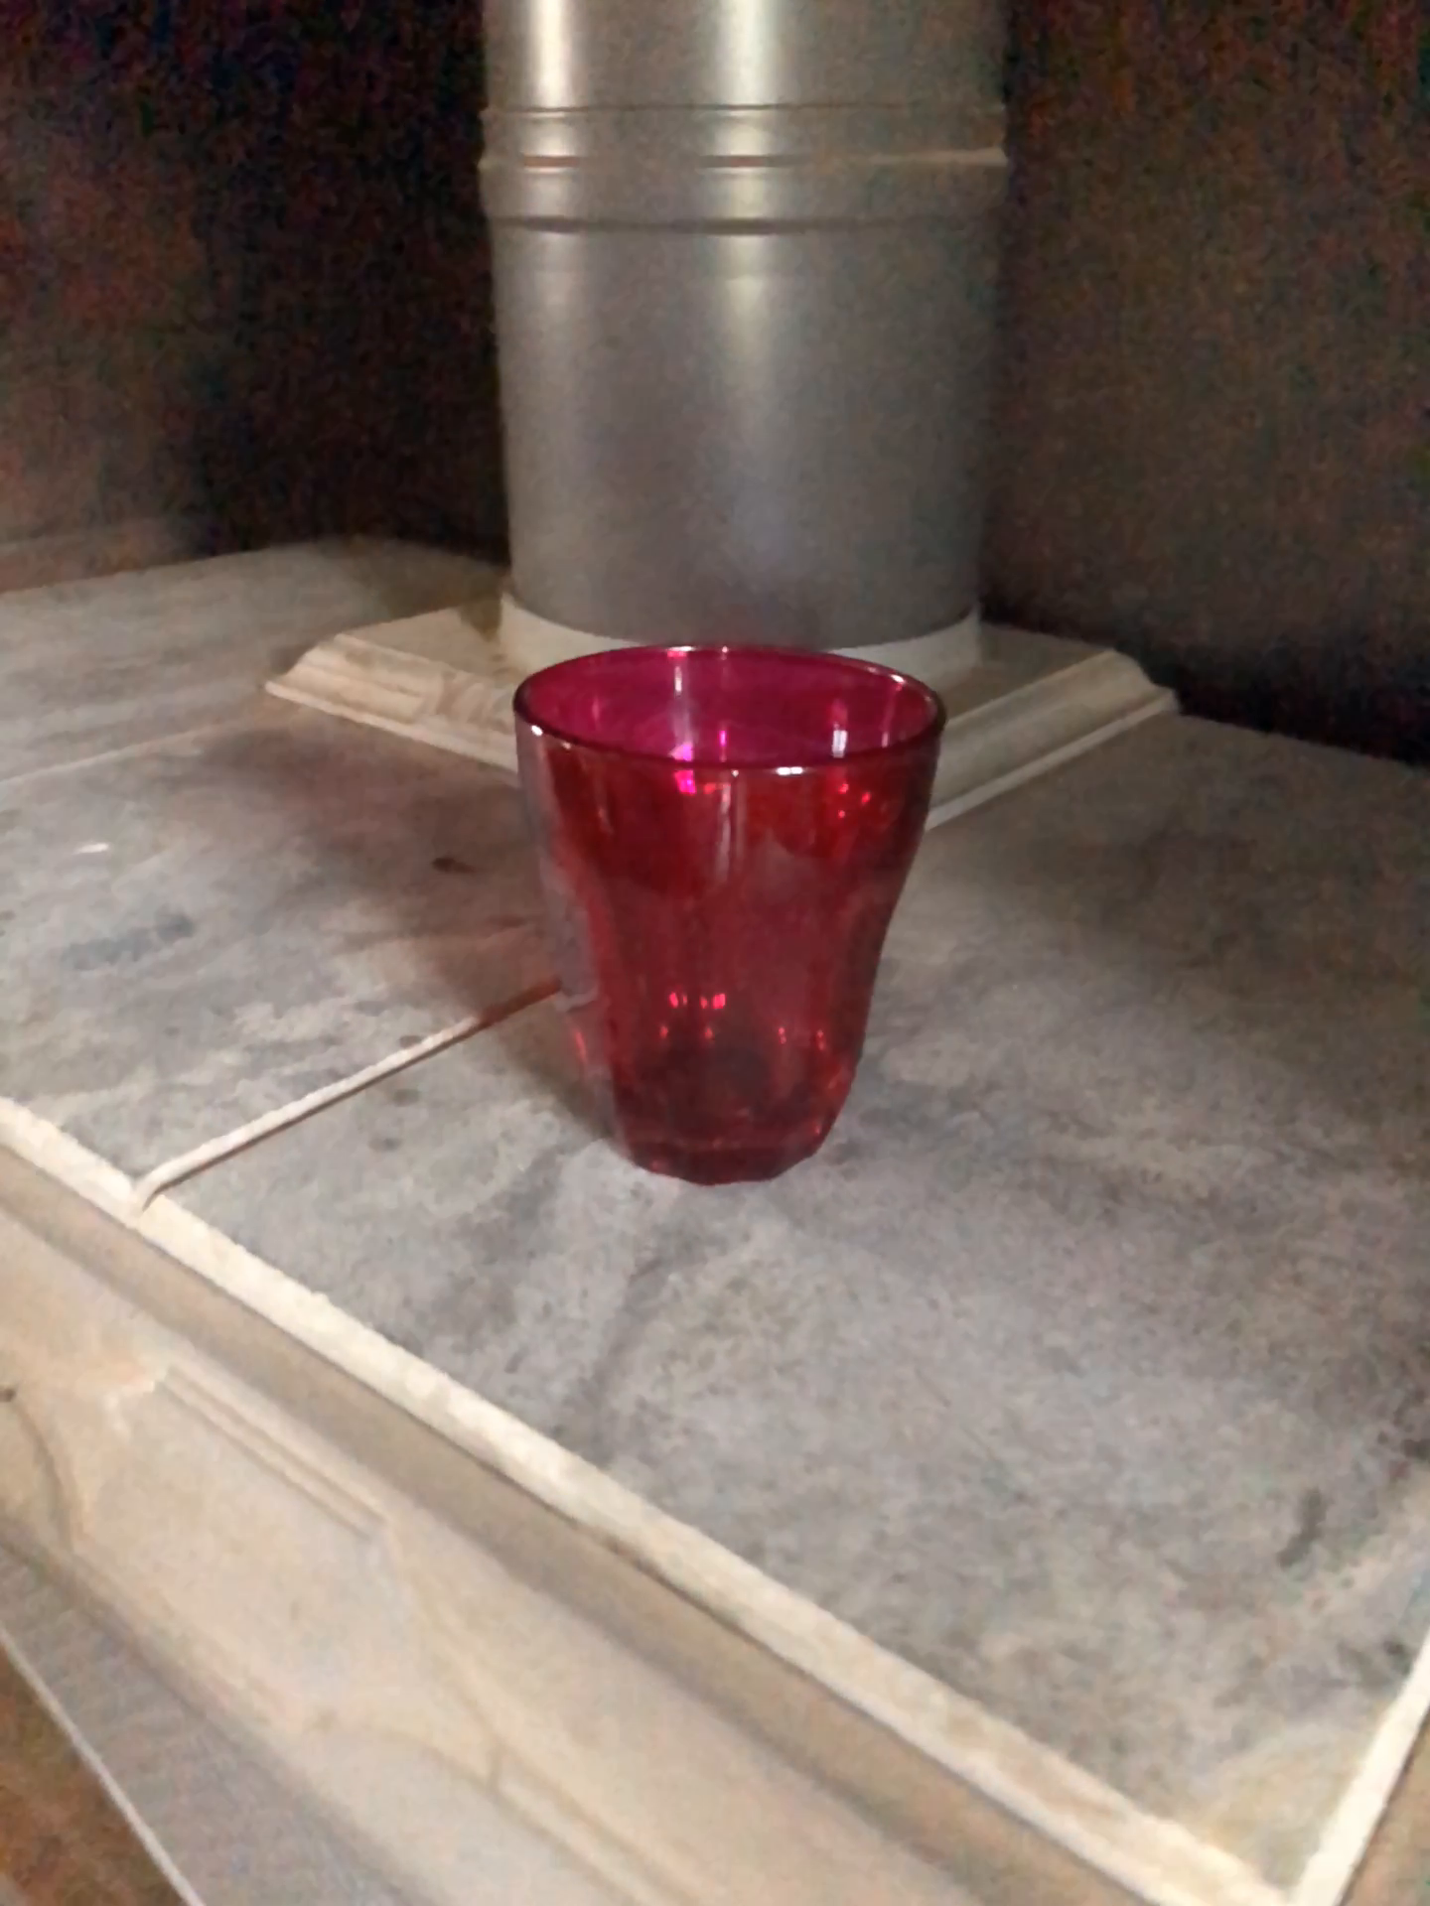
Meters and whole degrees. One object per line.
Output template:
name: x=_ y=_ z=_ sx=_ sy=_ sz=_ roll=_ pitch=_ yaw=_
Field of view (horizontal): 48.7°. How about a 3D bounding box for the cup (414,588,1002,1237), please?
cup: x=0.002 y=-0.013 z=0.280 sx=0.070 sy=0.080 sz=0.081 roll=12 pitch=27 yaw=23
